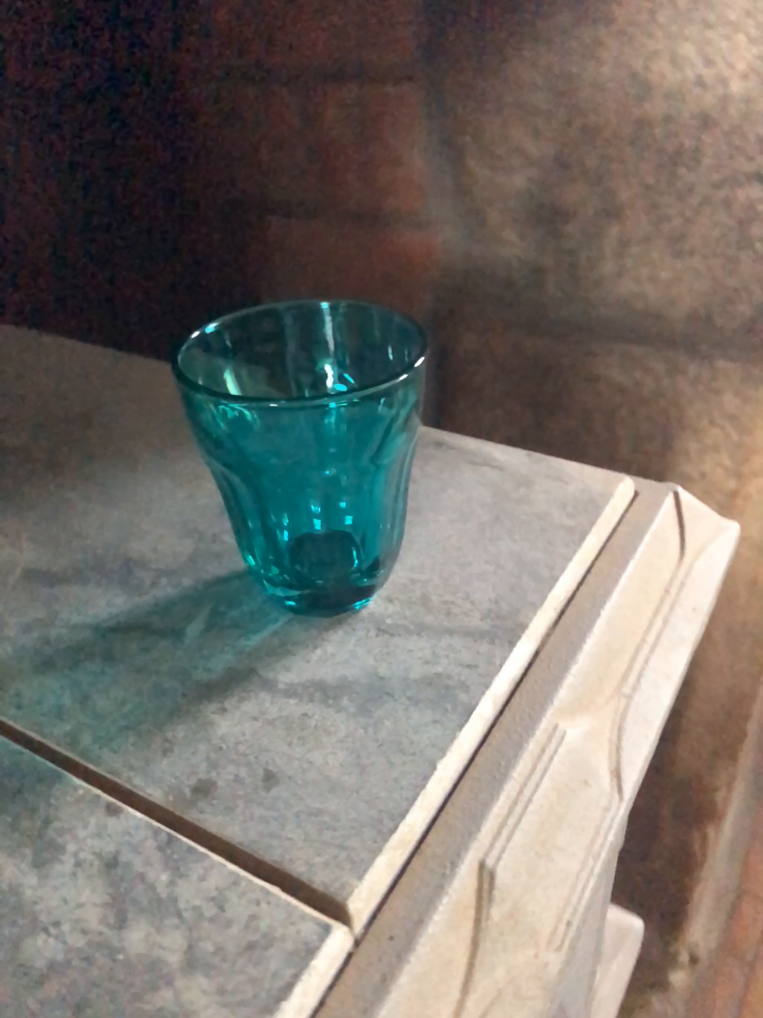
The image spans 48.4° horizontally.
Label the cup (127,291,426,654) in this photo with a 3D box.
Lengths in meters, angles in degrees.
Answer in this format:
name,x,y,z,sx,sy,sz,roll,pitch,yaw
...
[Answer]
name,x,y,z,sx,sy,sz,roll,pitch,yaw
cup,-0.024,-0.012,0.252,0.070,0.080,0.070,-2,34,1
